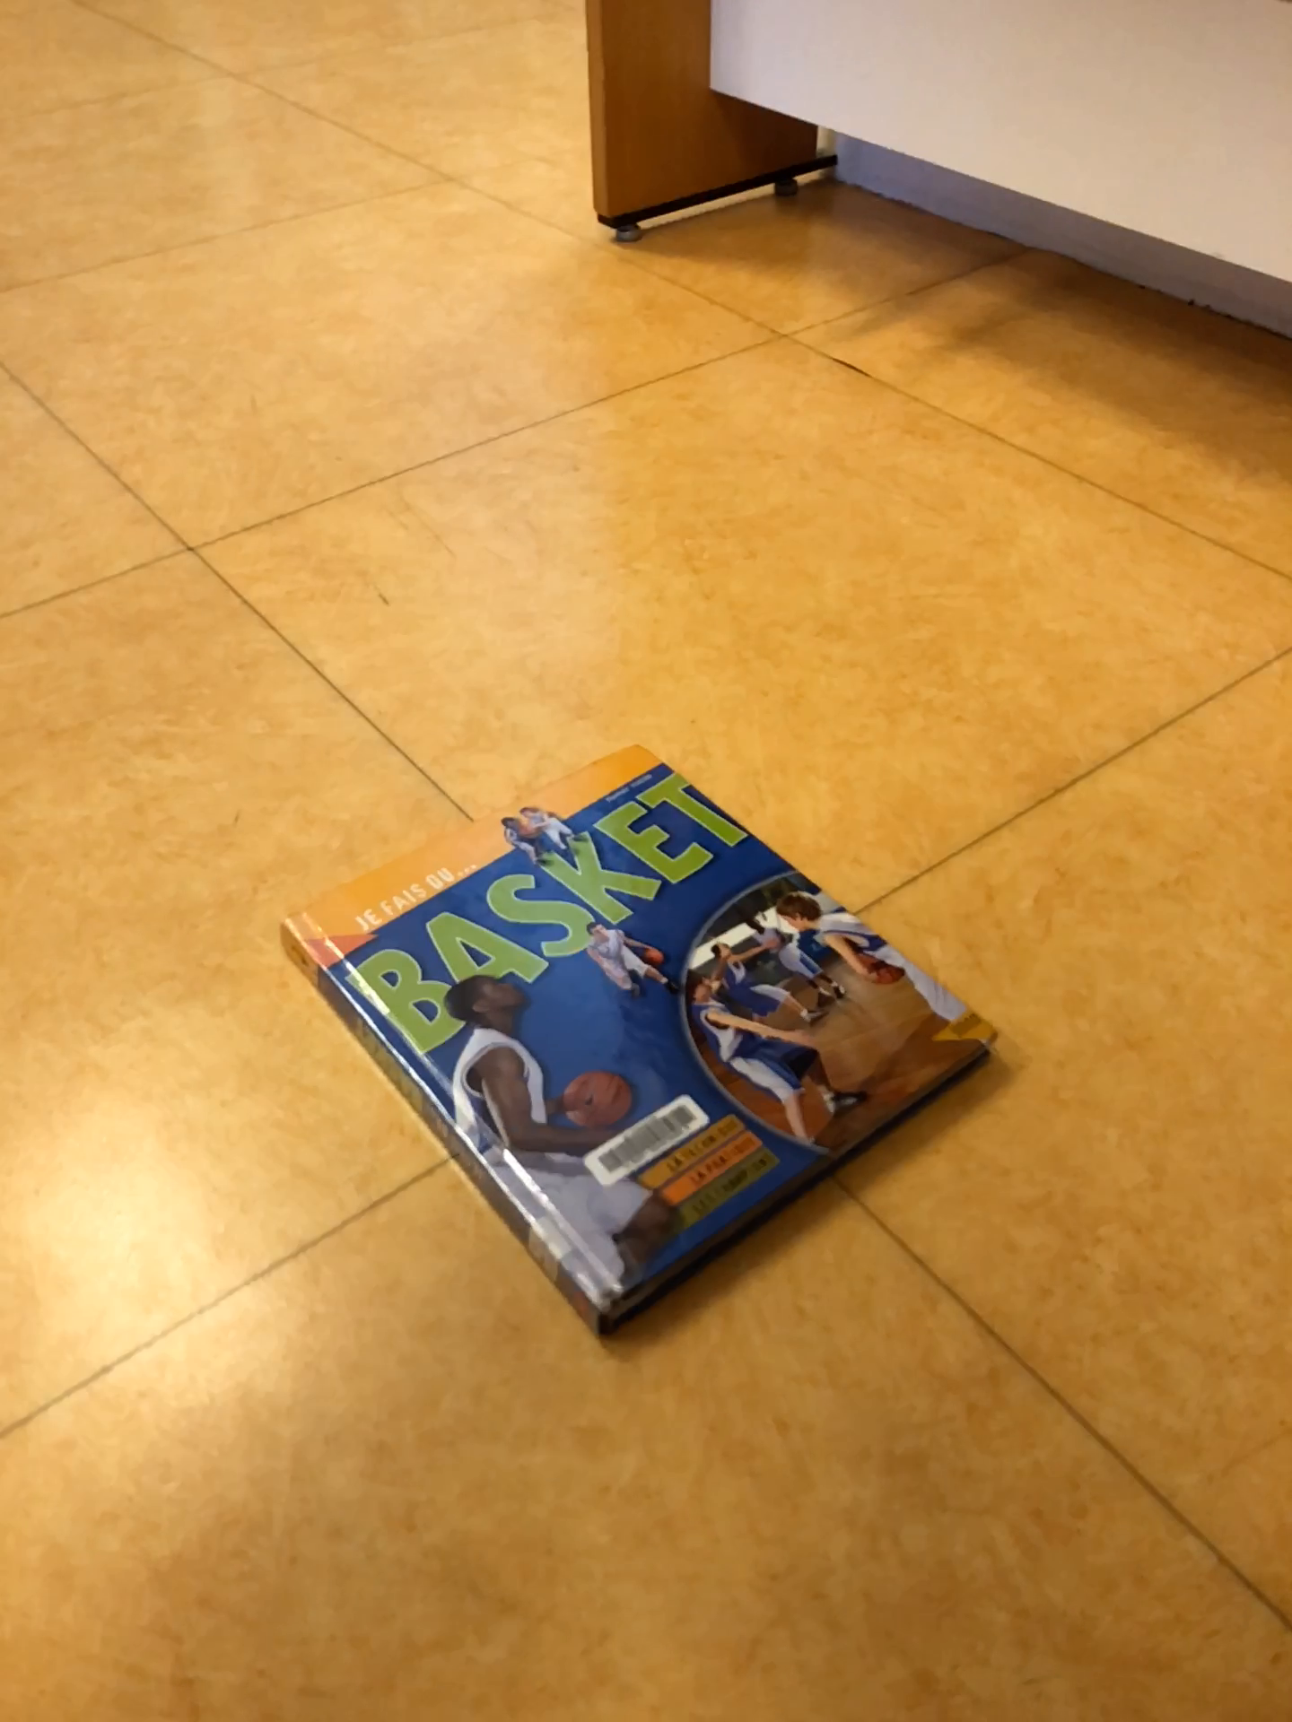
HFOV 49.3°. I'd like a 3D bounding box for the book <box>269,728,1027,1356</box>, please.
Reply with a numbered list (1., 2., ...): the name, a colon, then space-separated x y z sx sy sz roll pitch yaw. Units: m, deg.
1. book: -0.006 0.052 0.608 0.211 0.020 0.257 -29 49 -26
